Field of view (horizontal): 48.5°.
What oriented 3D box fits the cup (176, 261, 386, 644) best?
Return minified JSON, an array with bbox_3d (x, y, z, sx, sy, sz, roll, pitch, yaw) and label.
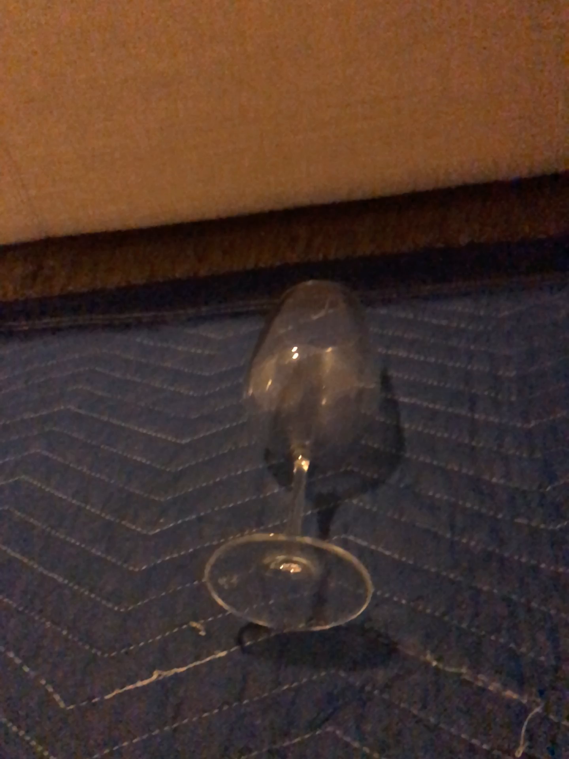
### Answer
[{"bbox_3d":[0.014,0.028,0.364,0.080,0.090,0.211,-4,39,12],"label":"cup"}]
